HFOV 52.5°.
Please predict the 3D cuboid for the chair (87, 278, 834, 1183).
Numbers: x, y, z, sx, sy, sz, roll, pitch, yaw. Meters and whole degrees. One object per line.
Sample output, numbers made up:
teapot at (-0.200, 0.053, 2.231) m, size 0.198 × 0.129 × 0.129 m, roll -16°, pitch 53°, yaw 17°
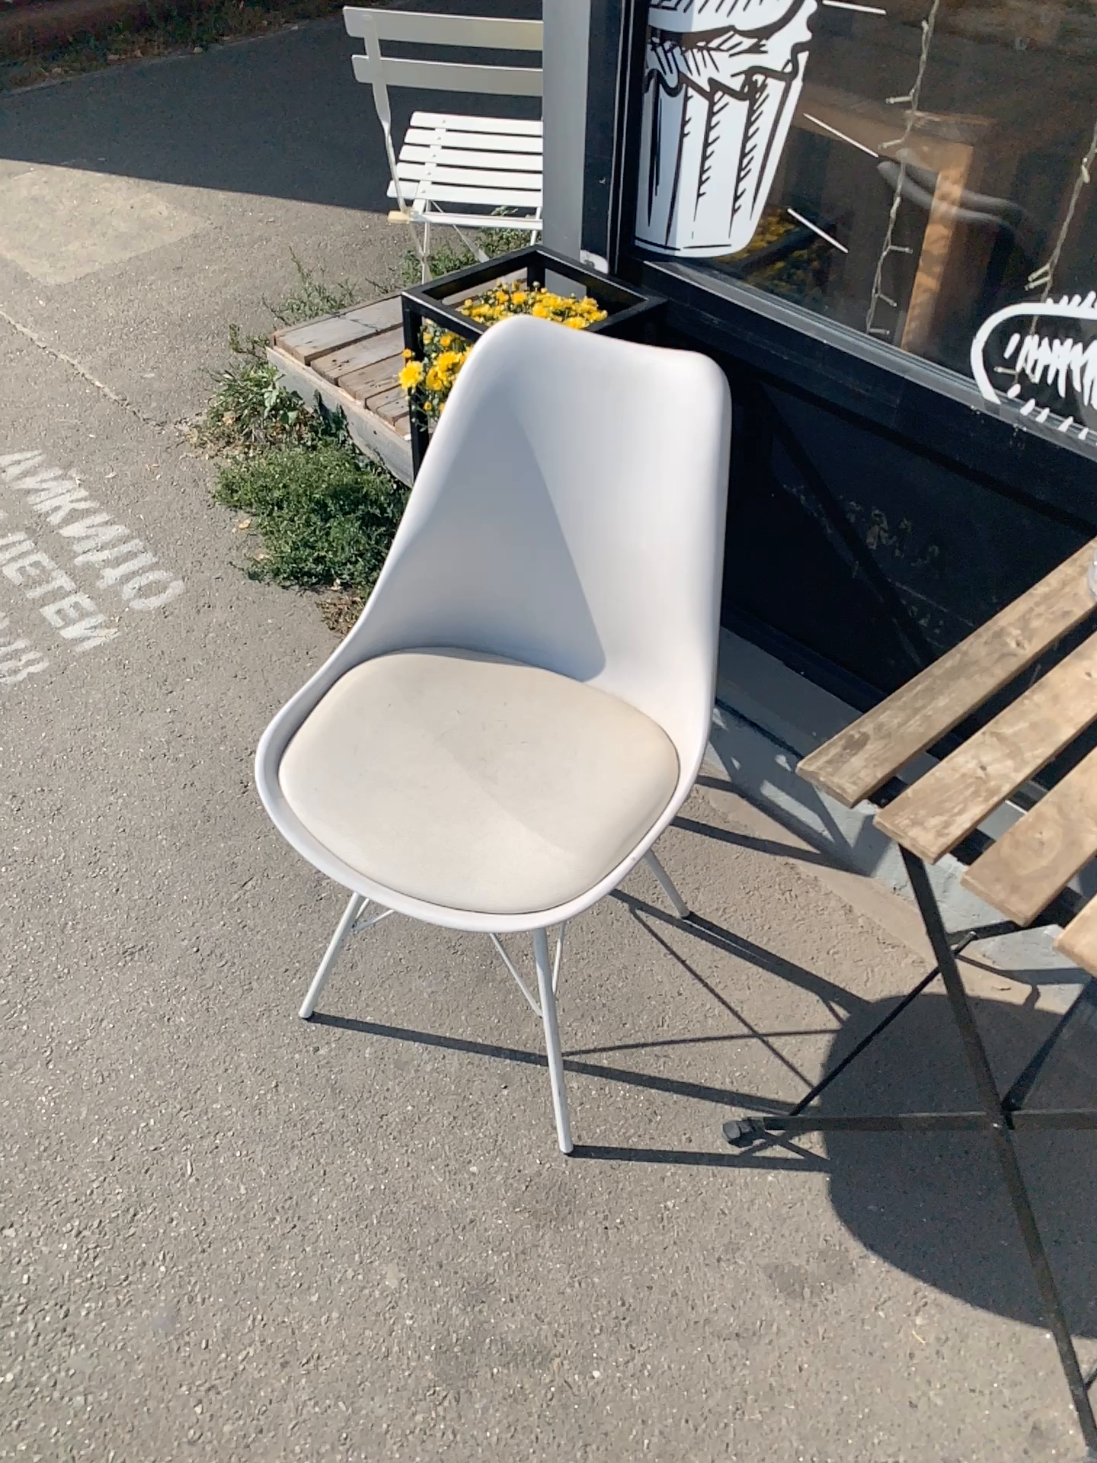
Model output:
chair at (-0.048, 0.012, 1.269) m, size 0.480 × 0.777 × 0.532 m, roll 18°, pitch 47°, yaw 16°
